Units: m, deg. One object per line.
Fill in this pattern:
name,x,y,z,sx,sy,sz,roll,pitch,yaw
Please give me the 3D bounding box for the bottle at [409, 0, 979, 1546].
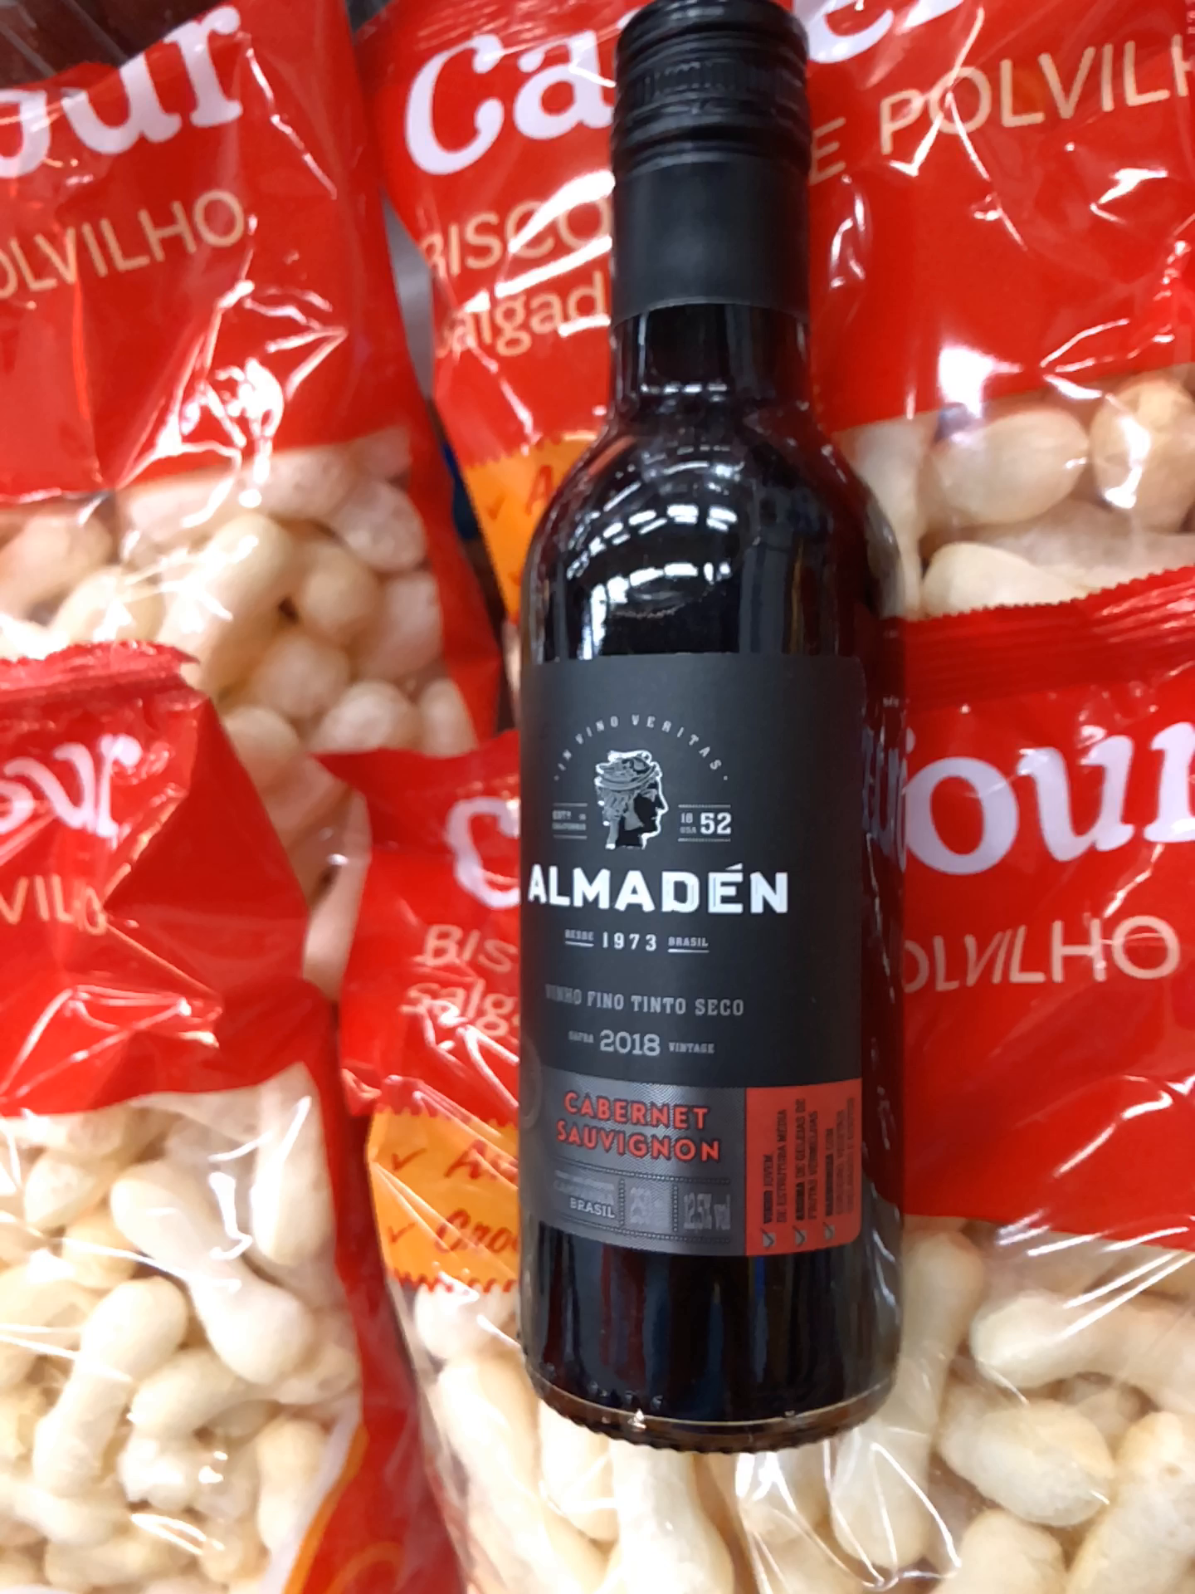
bottle,0.017,-0.019,0.185,0.060,0.050,0.200,0,86,23
